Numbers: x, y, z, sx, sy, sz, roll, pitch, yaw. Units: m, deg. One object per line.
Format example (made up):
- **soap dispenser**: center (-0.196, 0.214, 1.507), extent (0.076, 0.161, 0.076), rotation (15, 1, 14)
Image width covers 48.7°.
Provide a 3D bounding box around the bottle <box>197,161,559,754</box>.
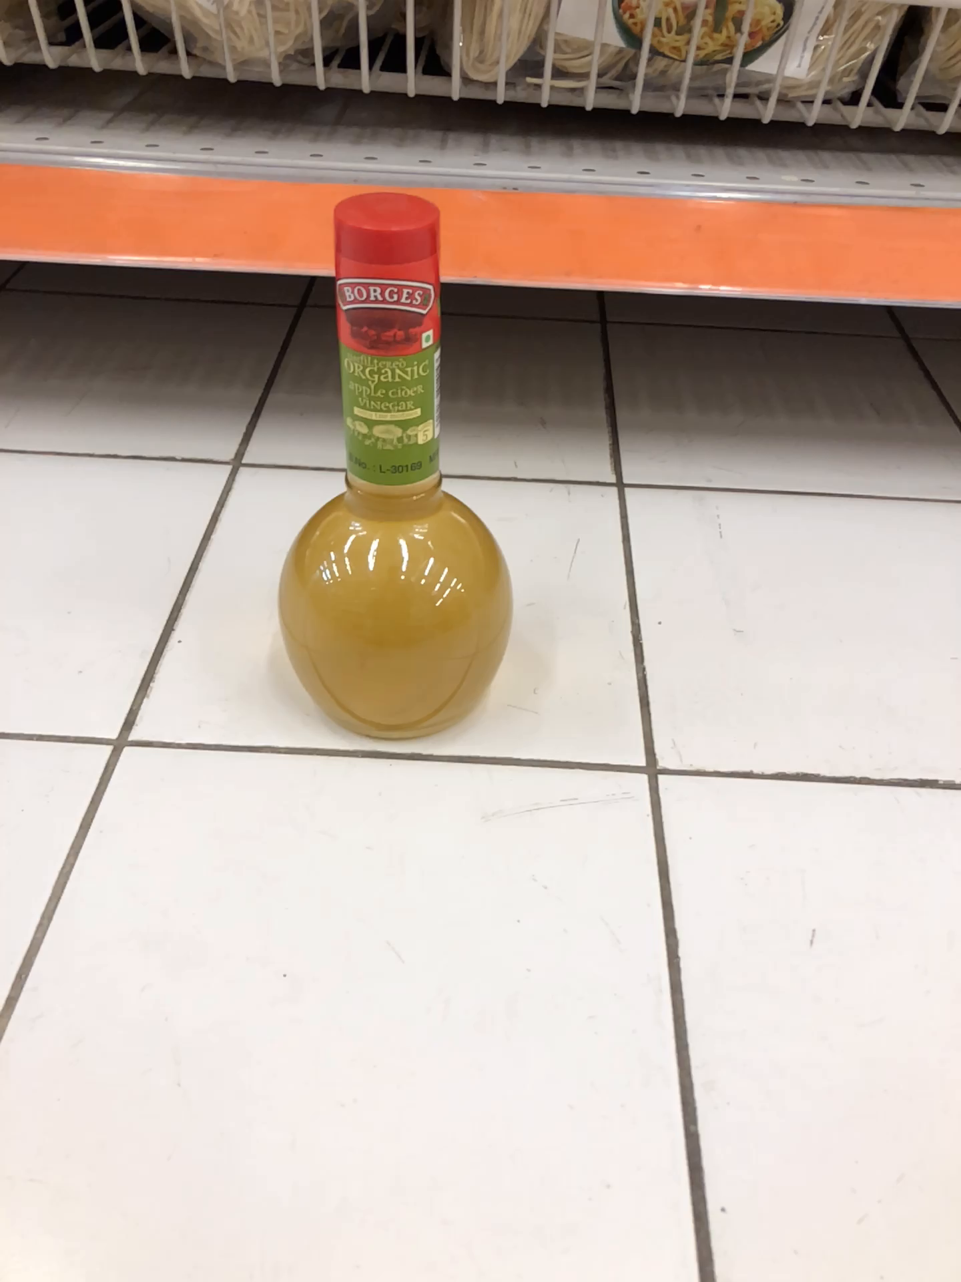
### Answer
- **bottle**: center (-0.026, -0.057, 0.358), extent (0.090, 0.169, 0.091), rotation (1, 39, -1)
